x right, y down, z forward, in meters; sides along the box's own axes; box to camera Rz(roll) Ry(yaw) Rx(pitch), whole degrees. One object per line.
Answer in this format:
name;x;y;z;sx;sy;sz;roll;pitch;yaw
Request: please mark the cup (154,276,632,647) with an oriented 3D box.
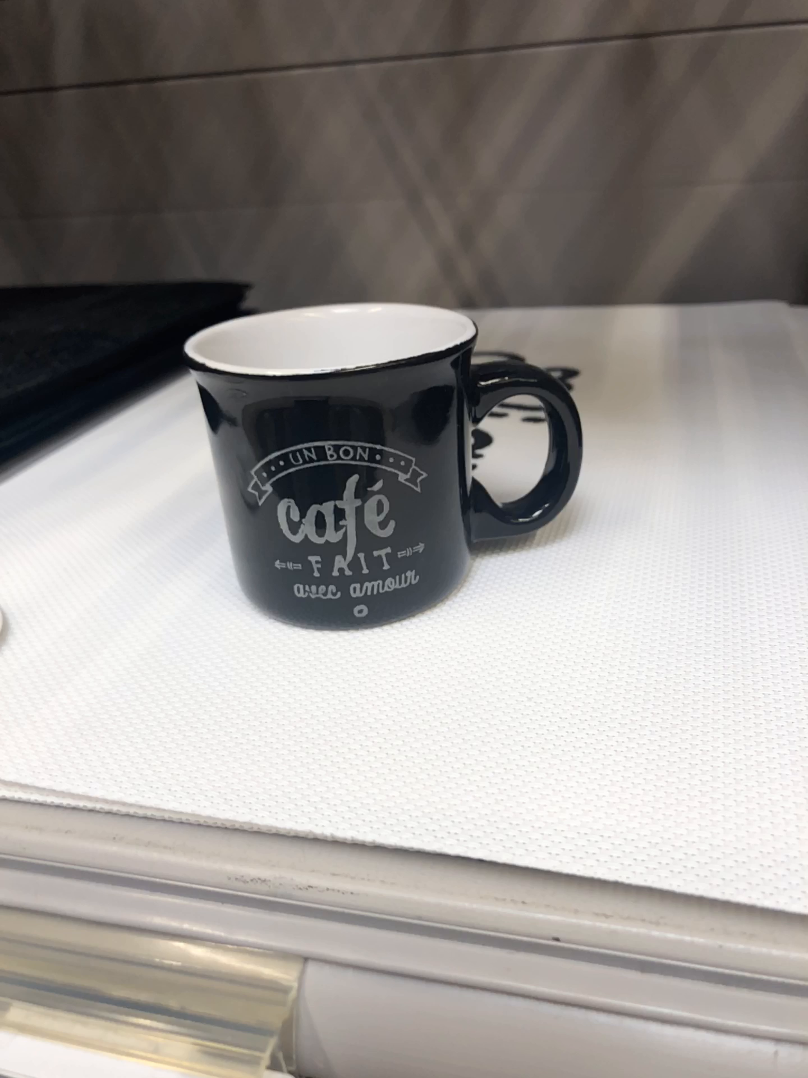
cup;-0.003;-0.025;0.236;0.100;0.064;0.075;-6;26;-4
